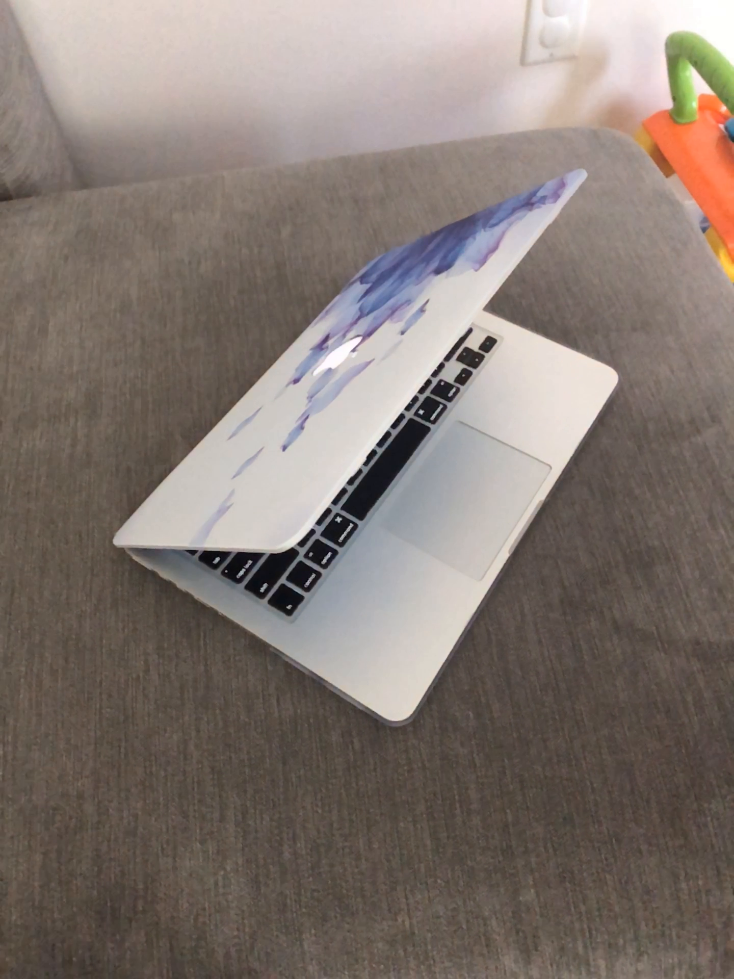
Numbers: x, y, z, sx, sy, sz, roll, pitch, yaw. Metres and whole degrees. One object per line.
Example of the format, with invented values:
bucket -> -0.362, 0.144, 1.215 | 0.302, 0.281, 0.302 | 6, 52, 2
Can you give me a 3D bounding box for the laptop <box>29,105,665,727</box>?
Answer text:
laptop -> 0.008, -0.063, 0.501 | 0.217, 0.137, 0.308 | 28, 61, 17
